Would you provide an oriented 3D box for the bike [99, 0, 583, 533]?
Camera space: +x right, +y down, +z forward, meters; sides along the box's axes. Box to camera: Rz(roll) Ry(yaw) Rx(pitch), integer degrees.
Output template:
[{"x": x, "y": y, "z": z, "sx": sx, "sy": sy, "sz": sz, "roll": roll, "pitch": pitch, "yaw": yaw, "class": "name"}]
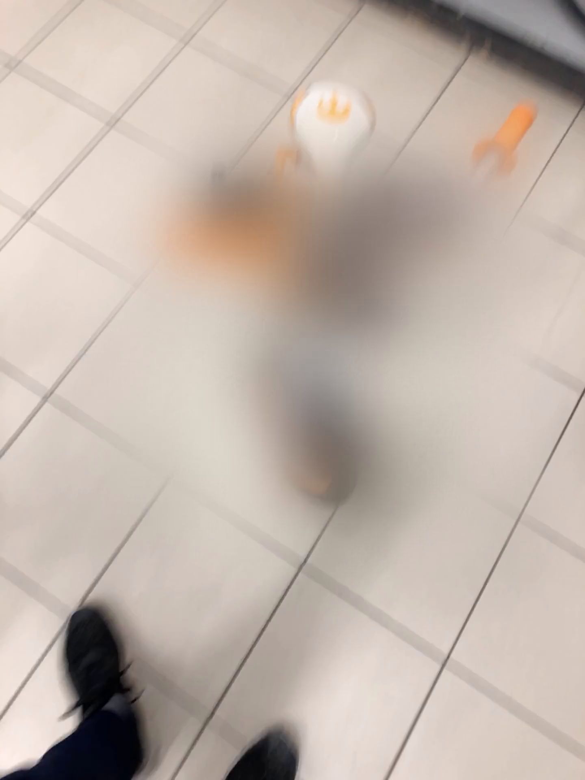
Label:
[{"x": 0.029, "y": -0.260, "z": 1.027, "sx": 0.435, "sy": 0.716, "sz": 0.816, "roll": -4, "pitch": 73, "yaw": -2, "class": "bike"}]
